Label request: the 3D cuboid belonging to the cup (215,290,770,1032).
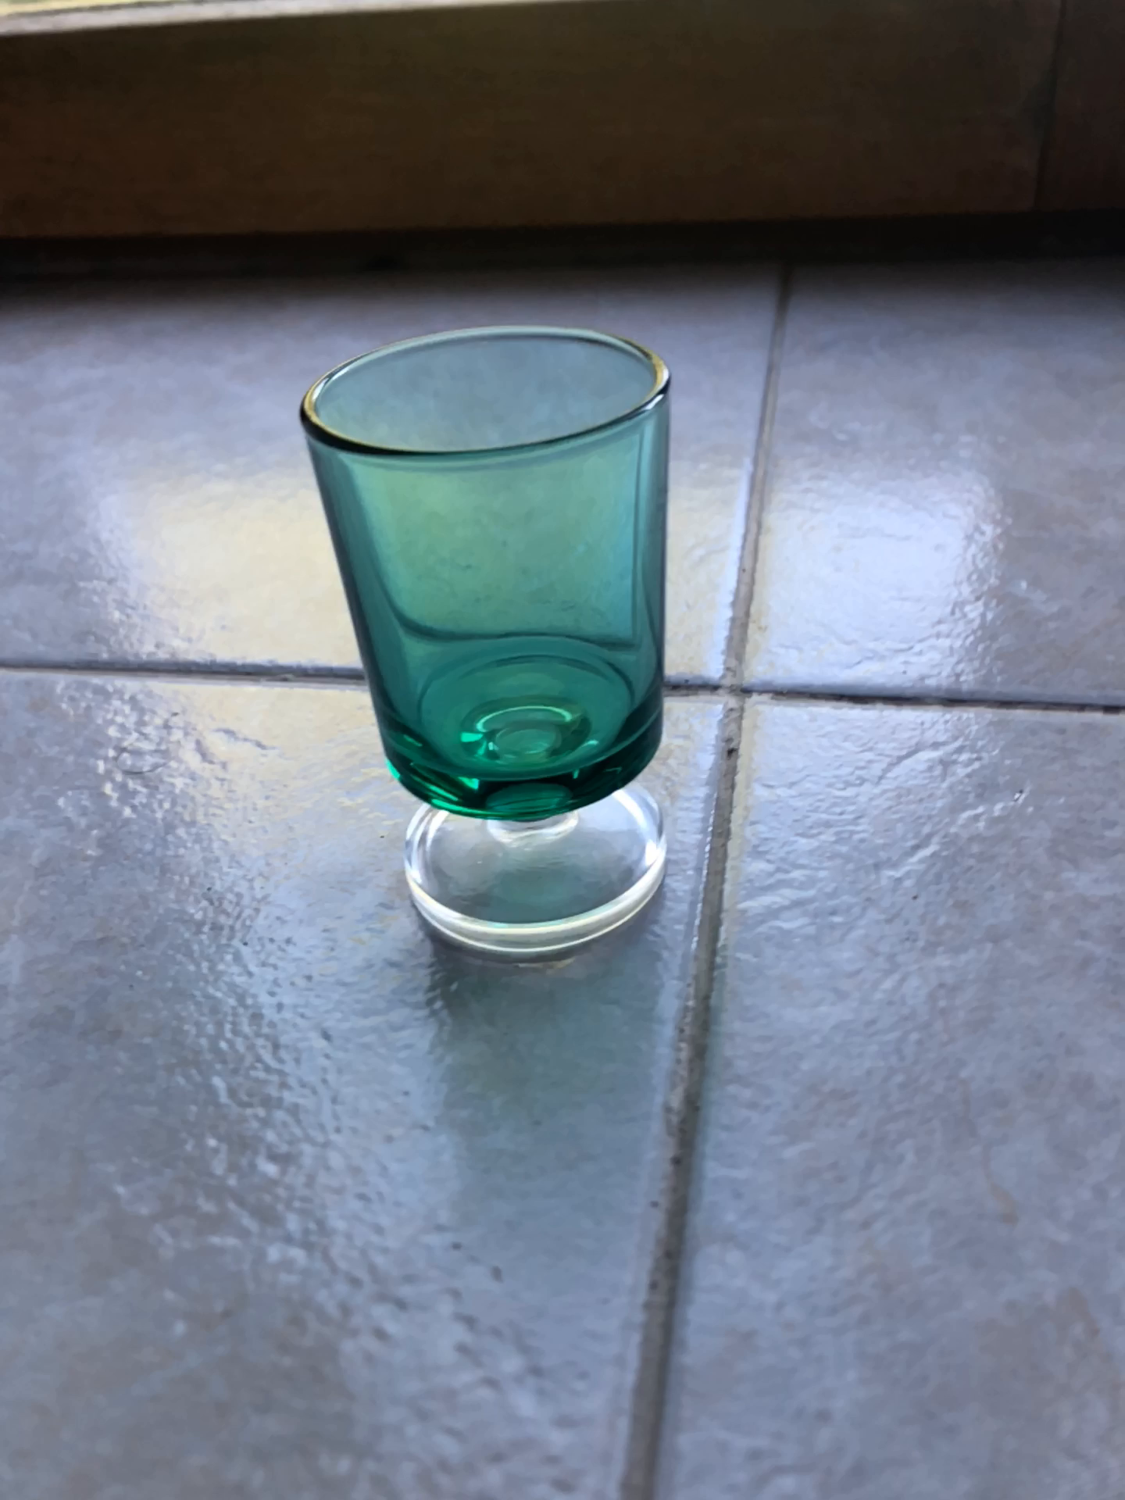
[{"bbox_3d":[-0.007,-0.012,0.155,0.045,0.068,0.044,-3,37,3],"label":"cup"}]
